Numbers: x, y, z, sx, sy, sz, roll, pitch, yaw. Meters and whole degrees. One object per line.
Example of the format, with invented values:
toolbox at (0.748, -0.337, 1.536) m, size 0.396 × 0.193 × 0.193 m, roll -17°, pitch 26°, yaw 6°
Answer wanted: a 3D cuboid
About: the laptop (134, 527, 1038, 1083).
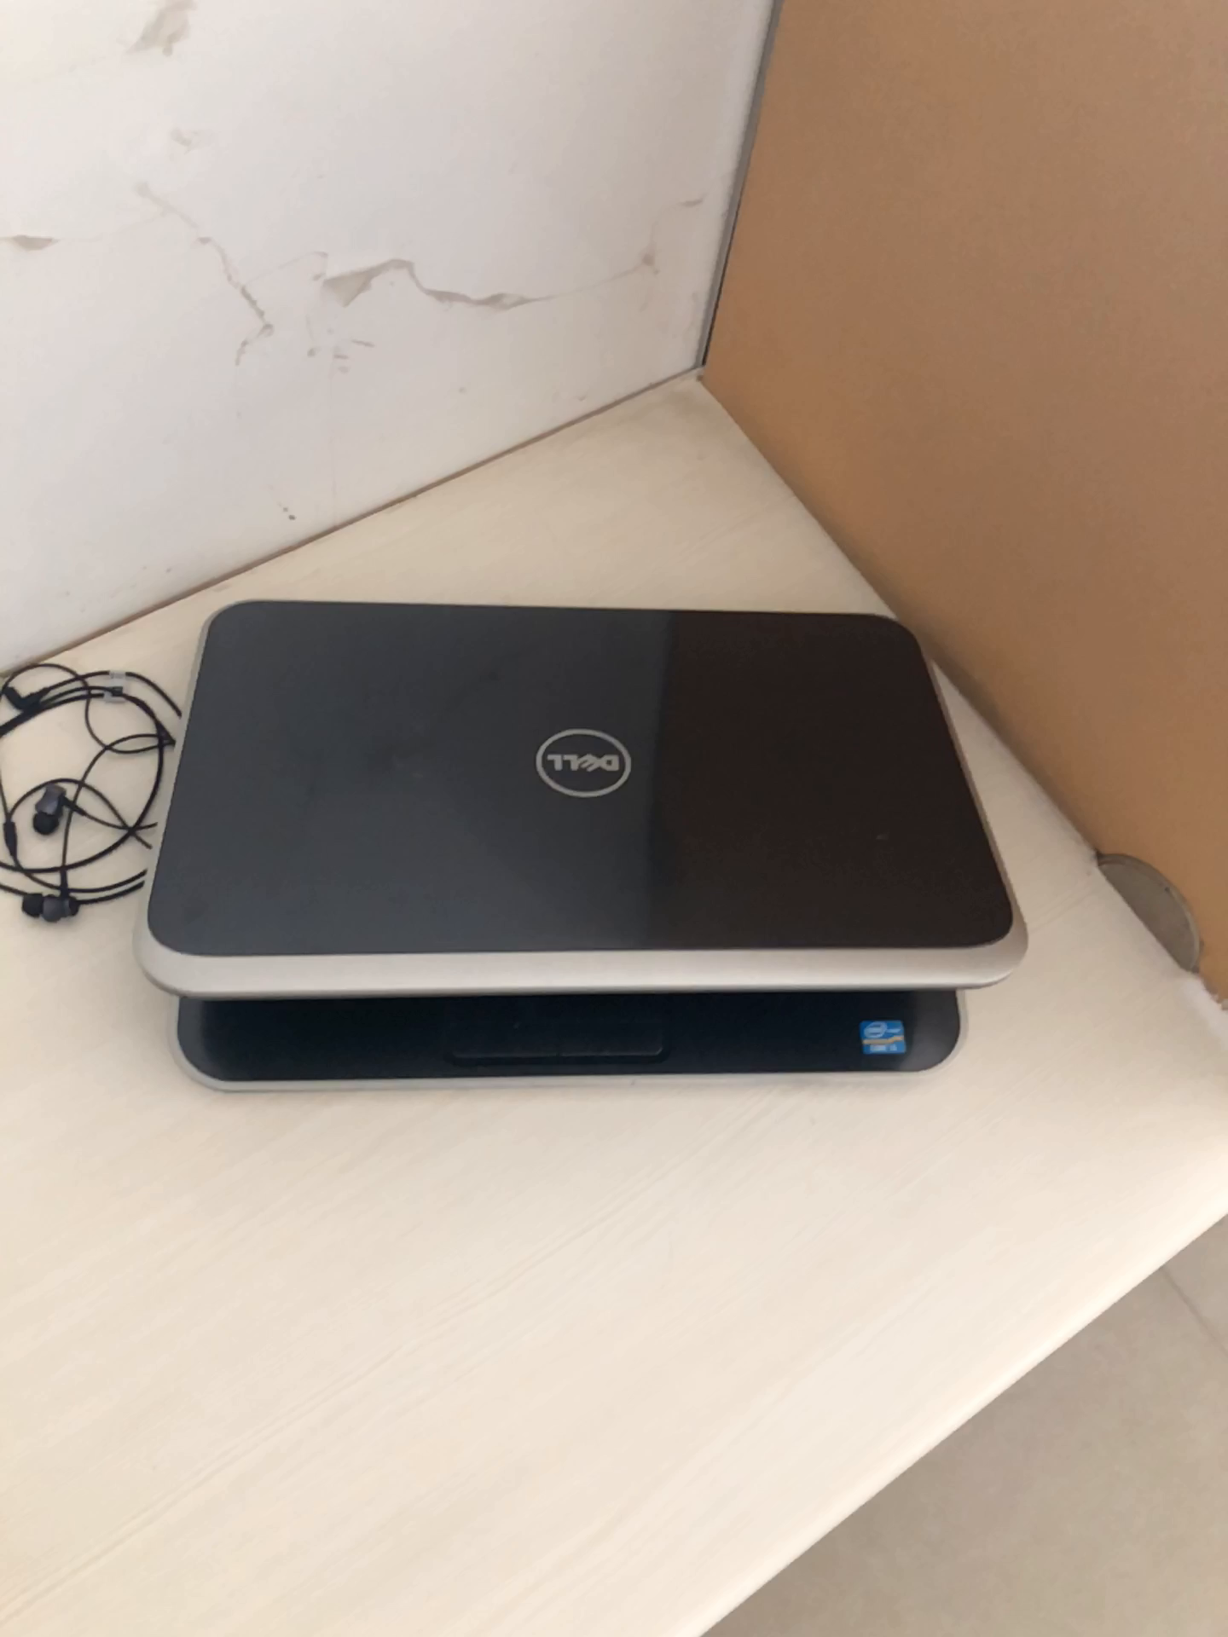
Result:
laptop at (-0.013, -0.008, 0.630) m, size 0.357 × 0.094 × 0.239 m, roll 0°, pitch 63°, yaw -6°
